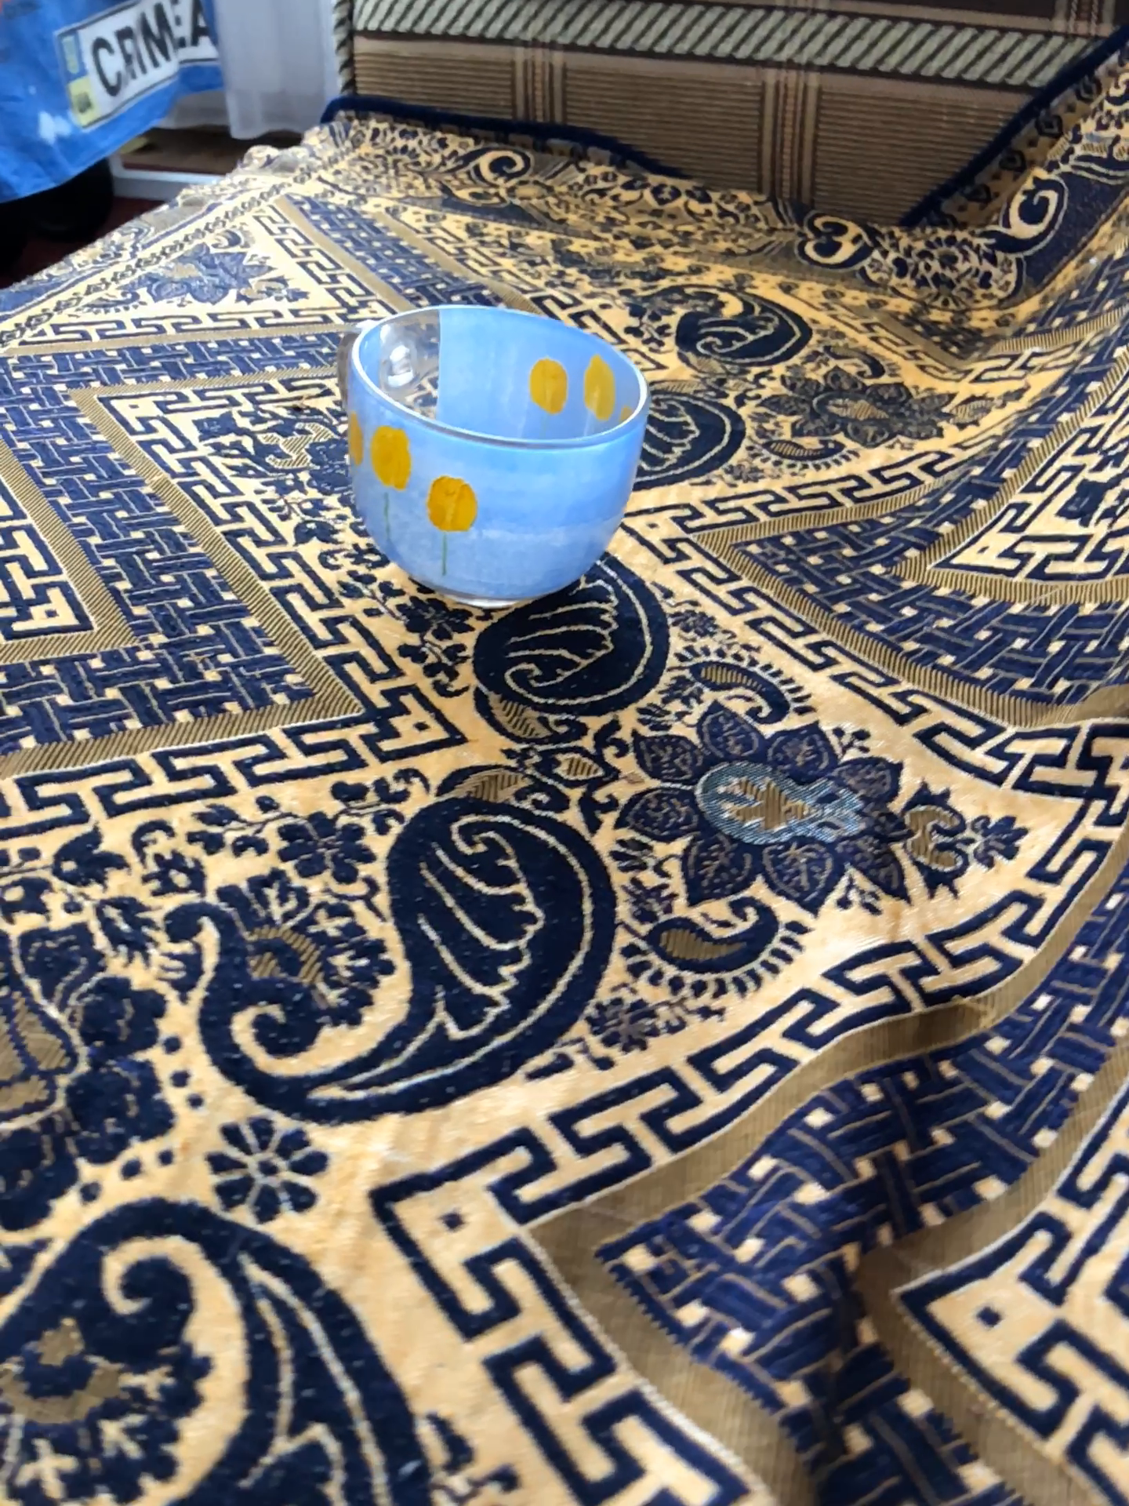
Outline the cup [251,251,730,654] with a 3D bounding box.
[{"bbox_3d":[-0.030,-0.121,0.472,0.108,0.072,0.139,-31,54,-34],"label":"cup"}]
